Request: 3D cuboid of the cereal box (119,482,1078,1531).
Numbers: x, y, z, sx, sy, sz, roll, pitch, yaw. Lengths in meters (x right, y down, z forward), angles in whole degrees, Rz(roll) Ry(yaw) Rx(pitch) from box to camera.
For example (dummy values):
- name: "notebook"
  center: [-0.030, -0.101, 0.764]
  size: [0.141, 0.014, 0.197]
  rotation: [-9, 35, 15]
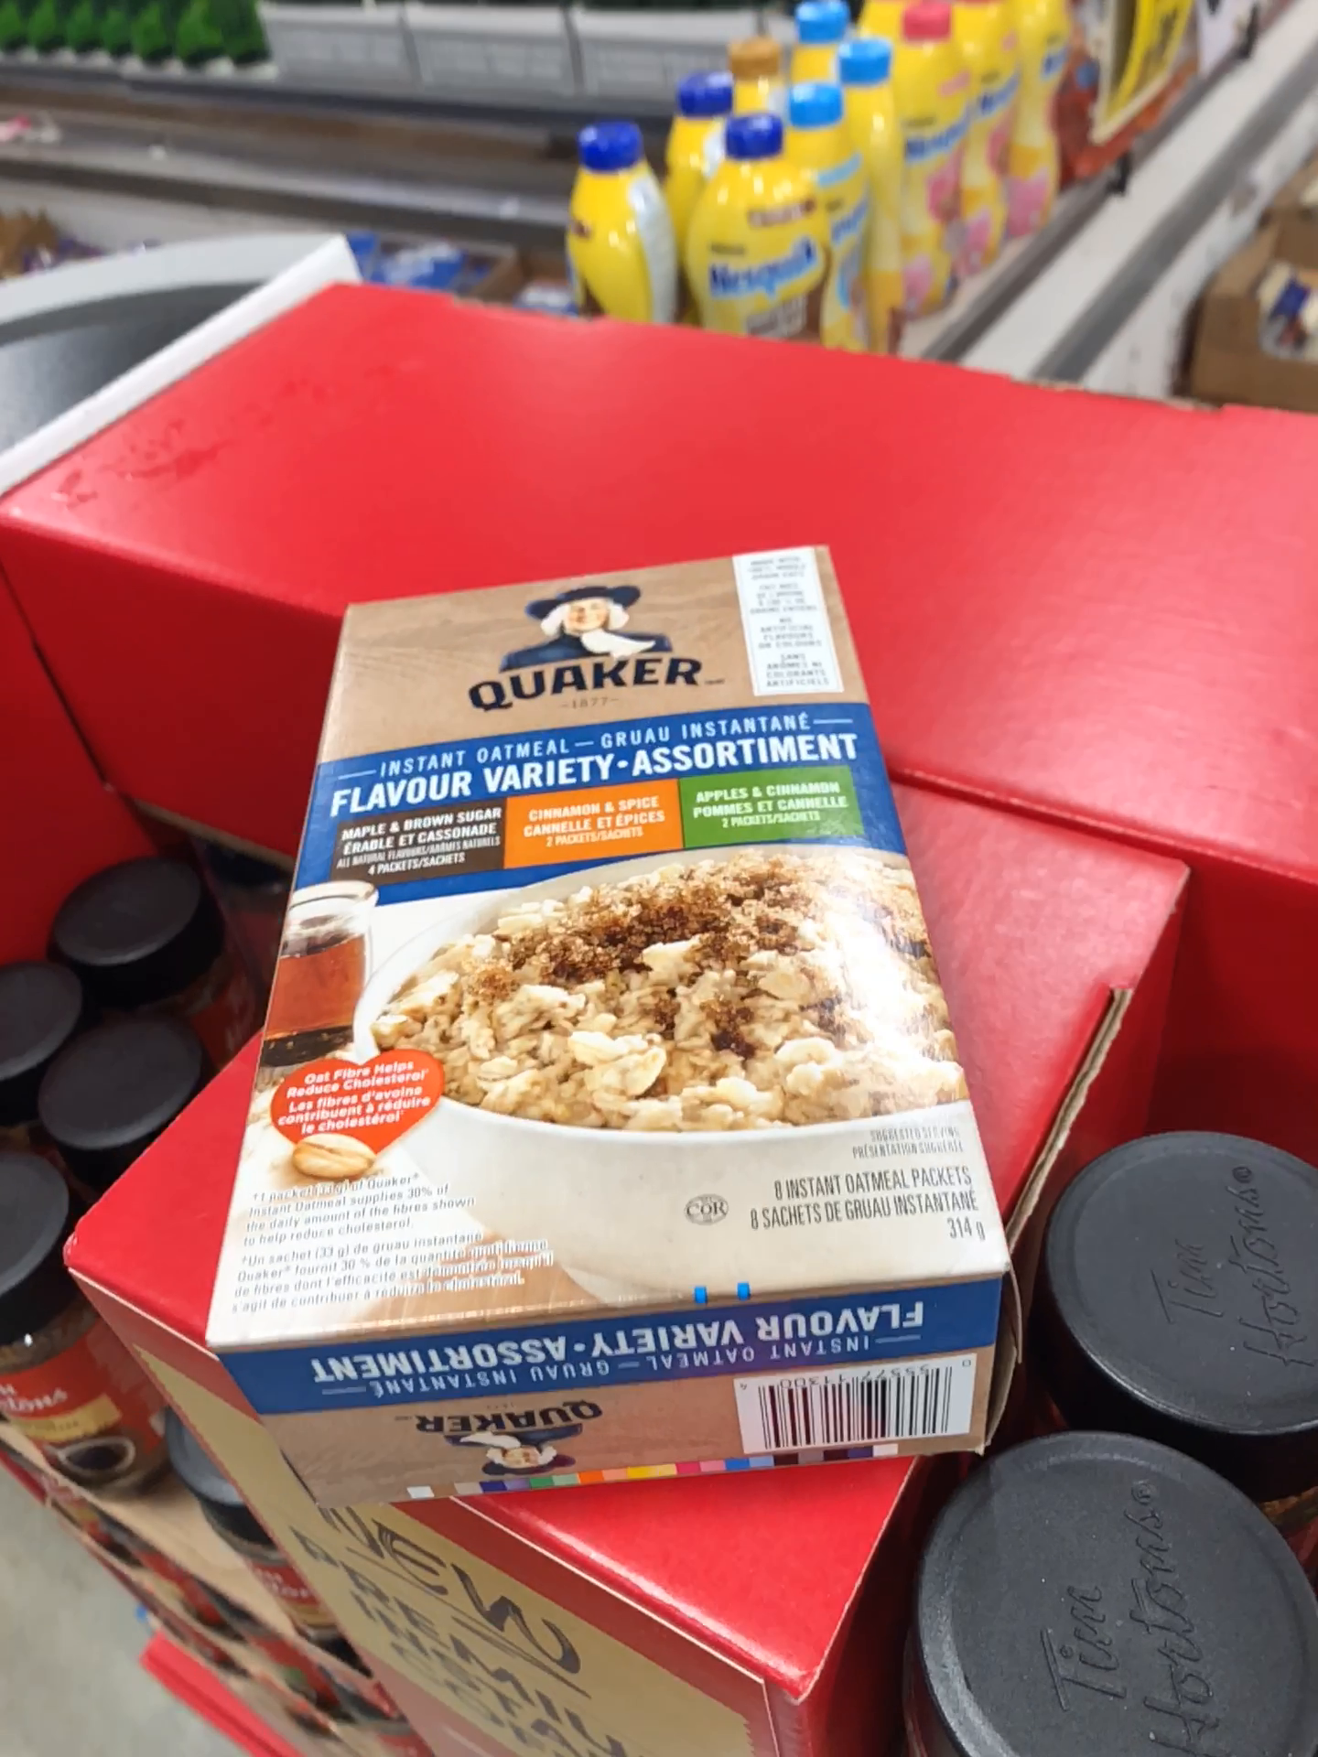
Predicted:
- name: "cereal box"
  center: [-0.011, 0.011, 0.312]
  size: [0.140, 0.070, 0.211]
  rotation: [-6, 45, 3]
